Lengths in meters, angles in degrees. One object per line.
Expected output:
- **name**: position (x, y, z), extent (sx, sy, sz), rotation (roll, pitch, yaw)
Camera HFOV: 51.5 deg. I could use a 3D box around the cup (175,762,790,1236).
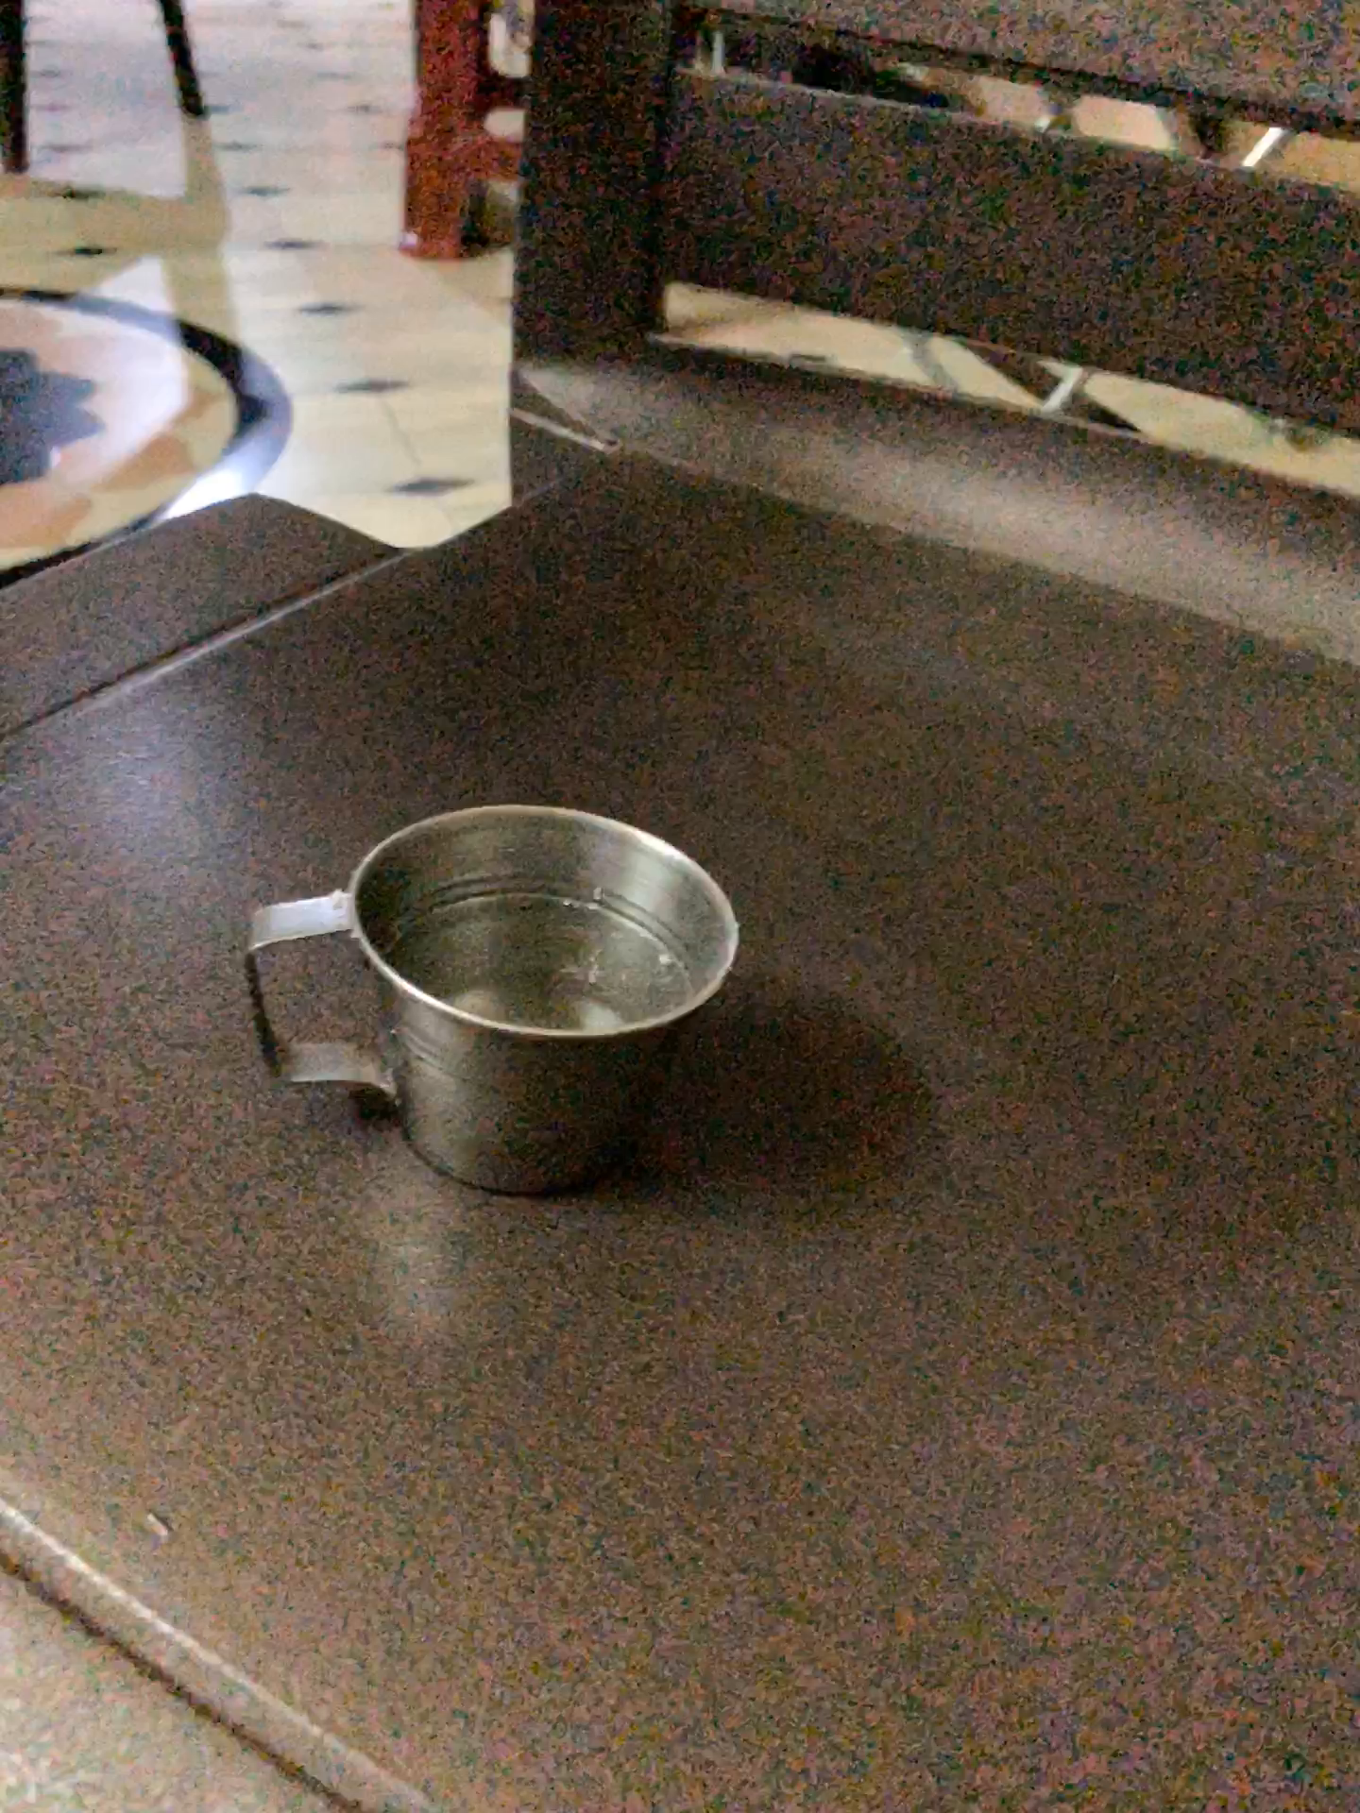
- **cup**: position (-0.032, 0.012, 0.219), extent (0.080, 0.040, 0.060), rotation (0, 41, -13)
